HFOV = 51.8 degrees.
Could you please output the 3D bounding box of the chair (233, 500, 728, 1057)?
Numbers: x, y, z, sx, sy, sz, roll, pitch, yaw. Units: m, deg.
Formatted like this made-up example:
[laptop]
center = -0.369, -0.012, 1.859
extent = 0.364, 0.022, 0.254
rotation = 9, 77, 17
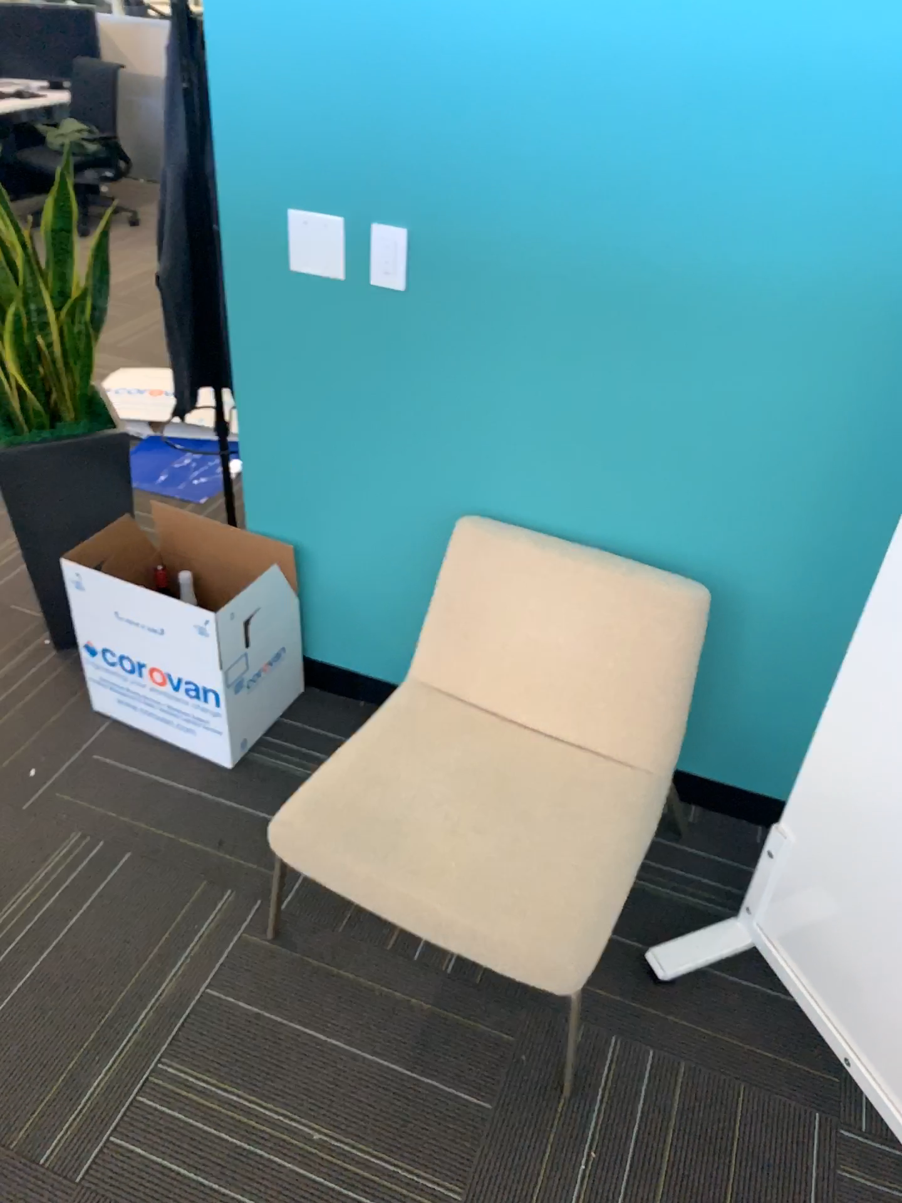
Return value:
[chair]
center = 0.081, 0.288, 1.852
extent = 0.661, 0.567, 0.733
rotation = 18, 38, 19
